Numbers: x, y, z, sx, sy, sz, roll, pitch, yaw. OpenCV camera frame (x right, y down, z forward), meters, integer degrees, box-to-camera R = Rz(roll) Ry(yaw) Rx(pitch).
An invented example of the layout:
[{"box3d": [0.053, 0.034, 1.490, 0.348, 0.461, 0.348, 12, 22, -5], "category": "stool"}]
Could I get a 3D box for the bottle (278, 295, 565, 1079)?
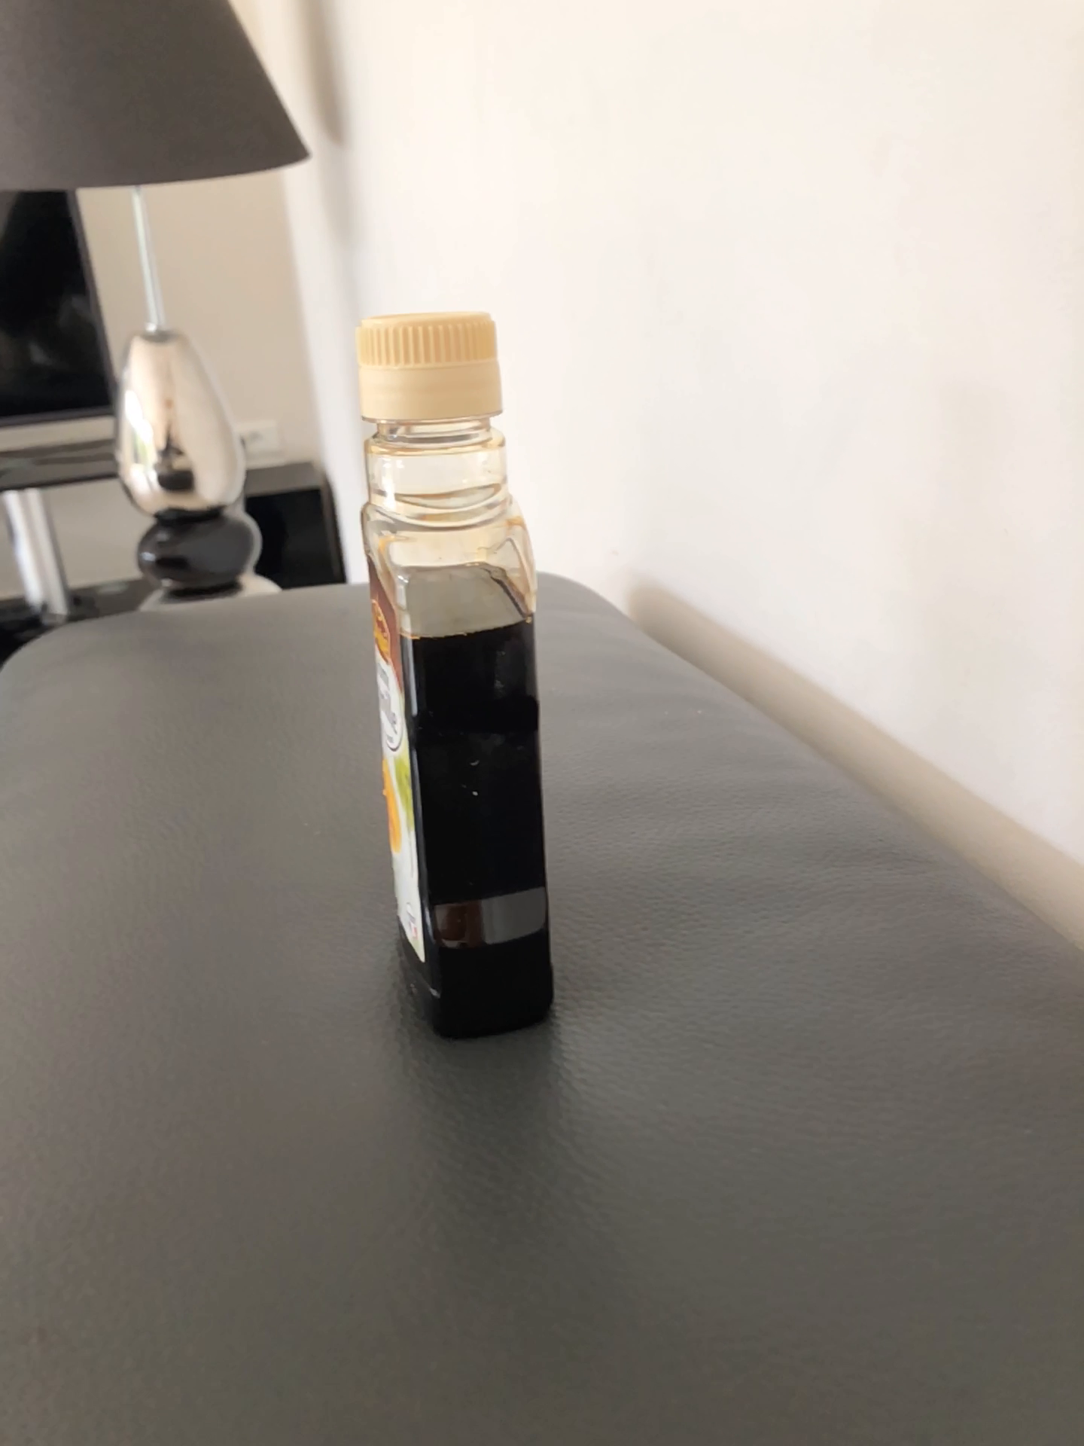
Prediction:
[{"box3d": [-0.027, -0.010, 0.273, 0.040, 0.159, 0.070, -8, 23, -14], "category": "bottle"}]
